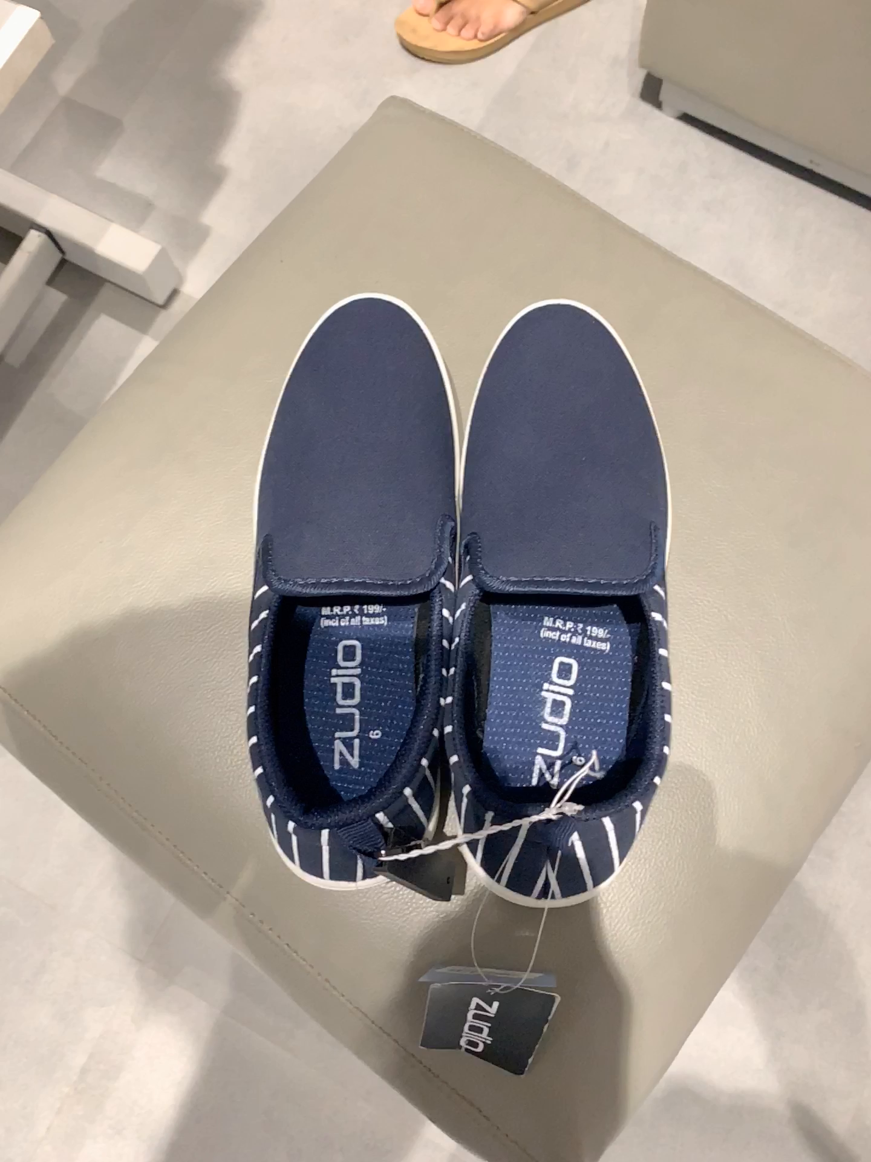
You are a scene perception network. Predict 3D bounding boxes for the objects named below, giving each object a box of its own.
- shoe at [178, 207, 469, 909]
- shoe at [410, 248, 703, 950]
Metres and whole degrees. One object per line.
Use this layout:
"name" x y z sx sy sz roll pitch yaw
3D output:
"shoe" -0.039 -0.011 0.388 0.100 0.090 0.280 -1 75 2
"shoe" 0.053 0.004 0.385 0.100 0.090 0.270 4 75 4
